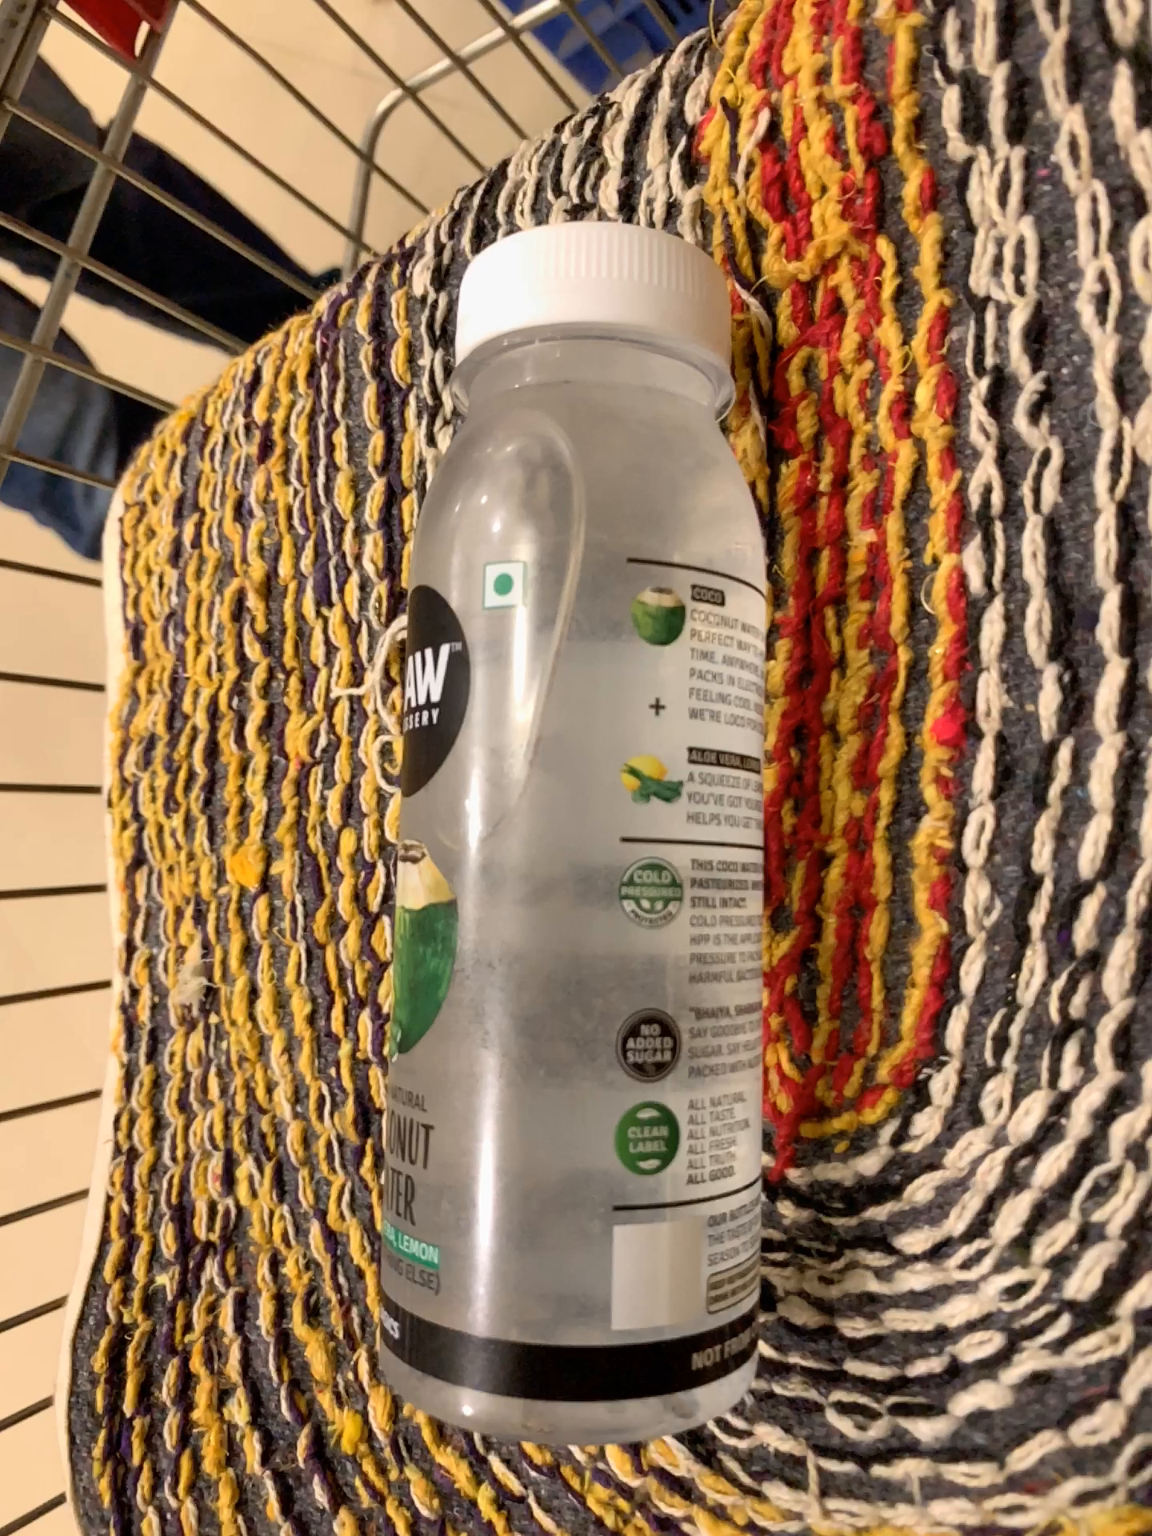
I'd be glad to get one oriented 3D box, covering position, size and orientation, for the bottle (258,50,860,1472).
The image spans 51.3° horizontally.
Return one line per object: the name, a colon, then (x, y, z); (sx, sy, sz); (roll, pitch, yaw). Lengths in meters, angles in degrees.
bottle: (-0.004, -0.001, 0.163); (0.060, 0.050, 0.150); (-8, 76, 60)
